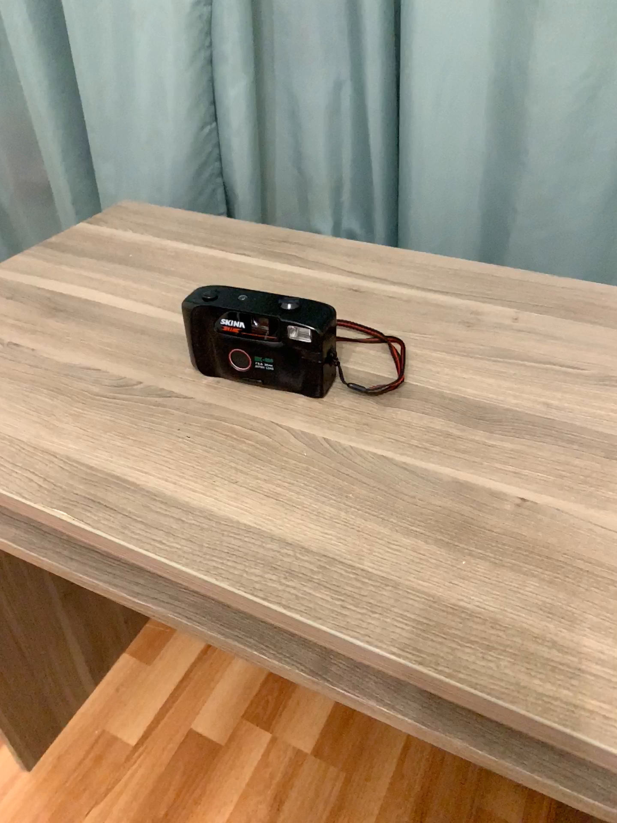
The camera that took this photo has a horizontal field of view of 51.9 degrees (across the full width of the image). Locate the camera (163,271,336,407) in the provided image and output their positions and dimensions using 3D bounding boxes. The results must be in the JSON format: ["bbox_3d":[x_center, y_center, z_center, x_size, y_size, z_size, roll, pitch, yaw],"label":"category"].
[{"bbox_3d":[-0.044,-0.057,0.488,0.120,0.069,0.046,13,38,17],"label":"camera"}]
